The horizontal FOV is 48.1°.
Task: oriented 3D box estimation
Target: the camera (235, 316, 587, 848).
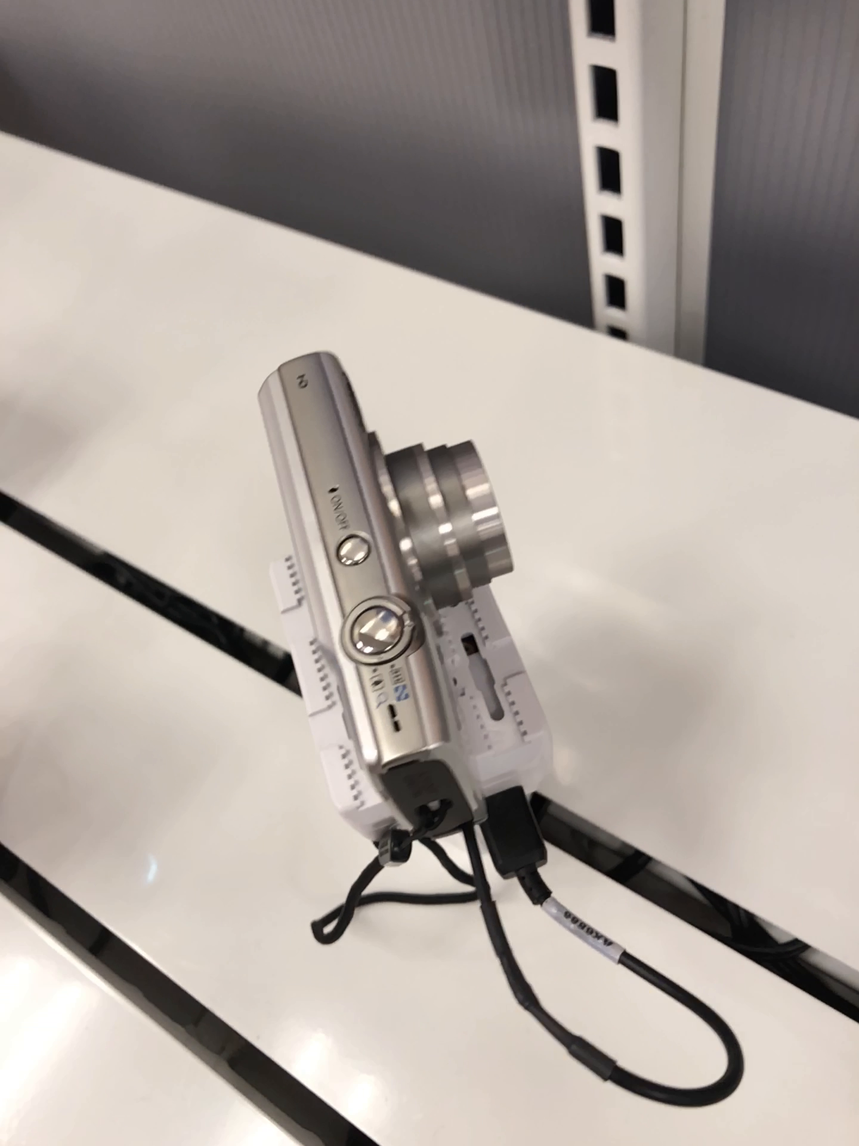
[{"bbox_3d":[-0.004,0.002,0.204,0.042,0.055,0.089,-19,59,3],"label":"camera"}]
